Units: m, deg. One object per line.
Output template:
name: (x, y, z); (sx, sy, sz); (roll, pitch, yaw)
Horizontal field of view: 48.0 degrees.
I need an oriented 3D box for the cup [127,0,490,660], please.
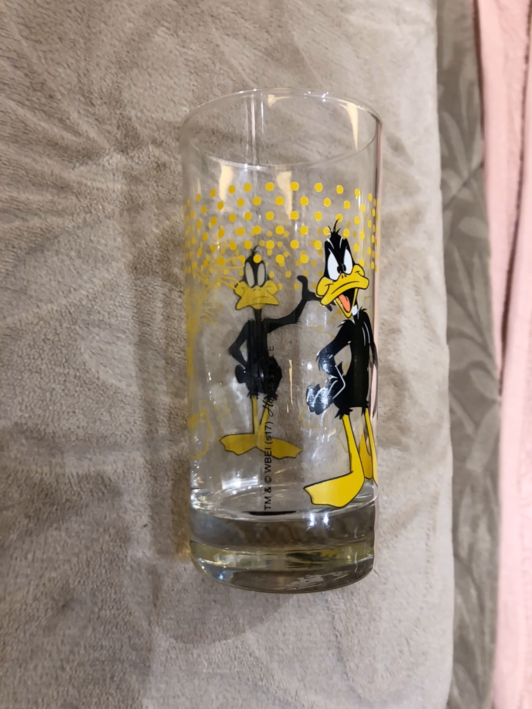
cup: (0.008, -0.008, 0.188); (0.070, 0.070, 0.160); (-1, 82, -35)
